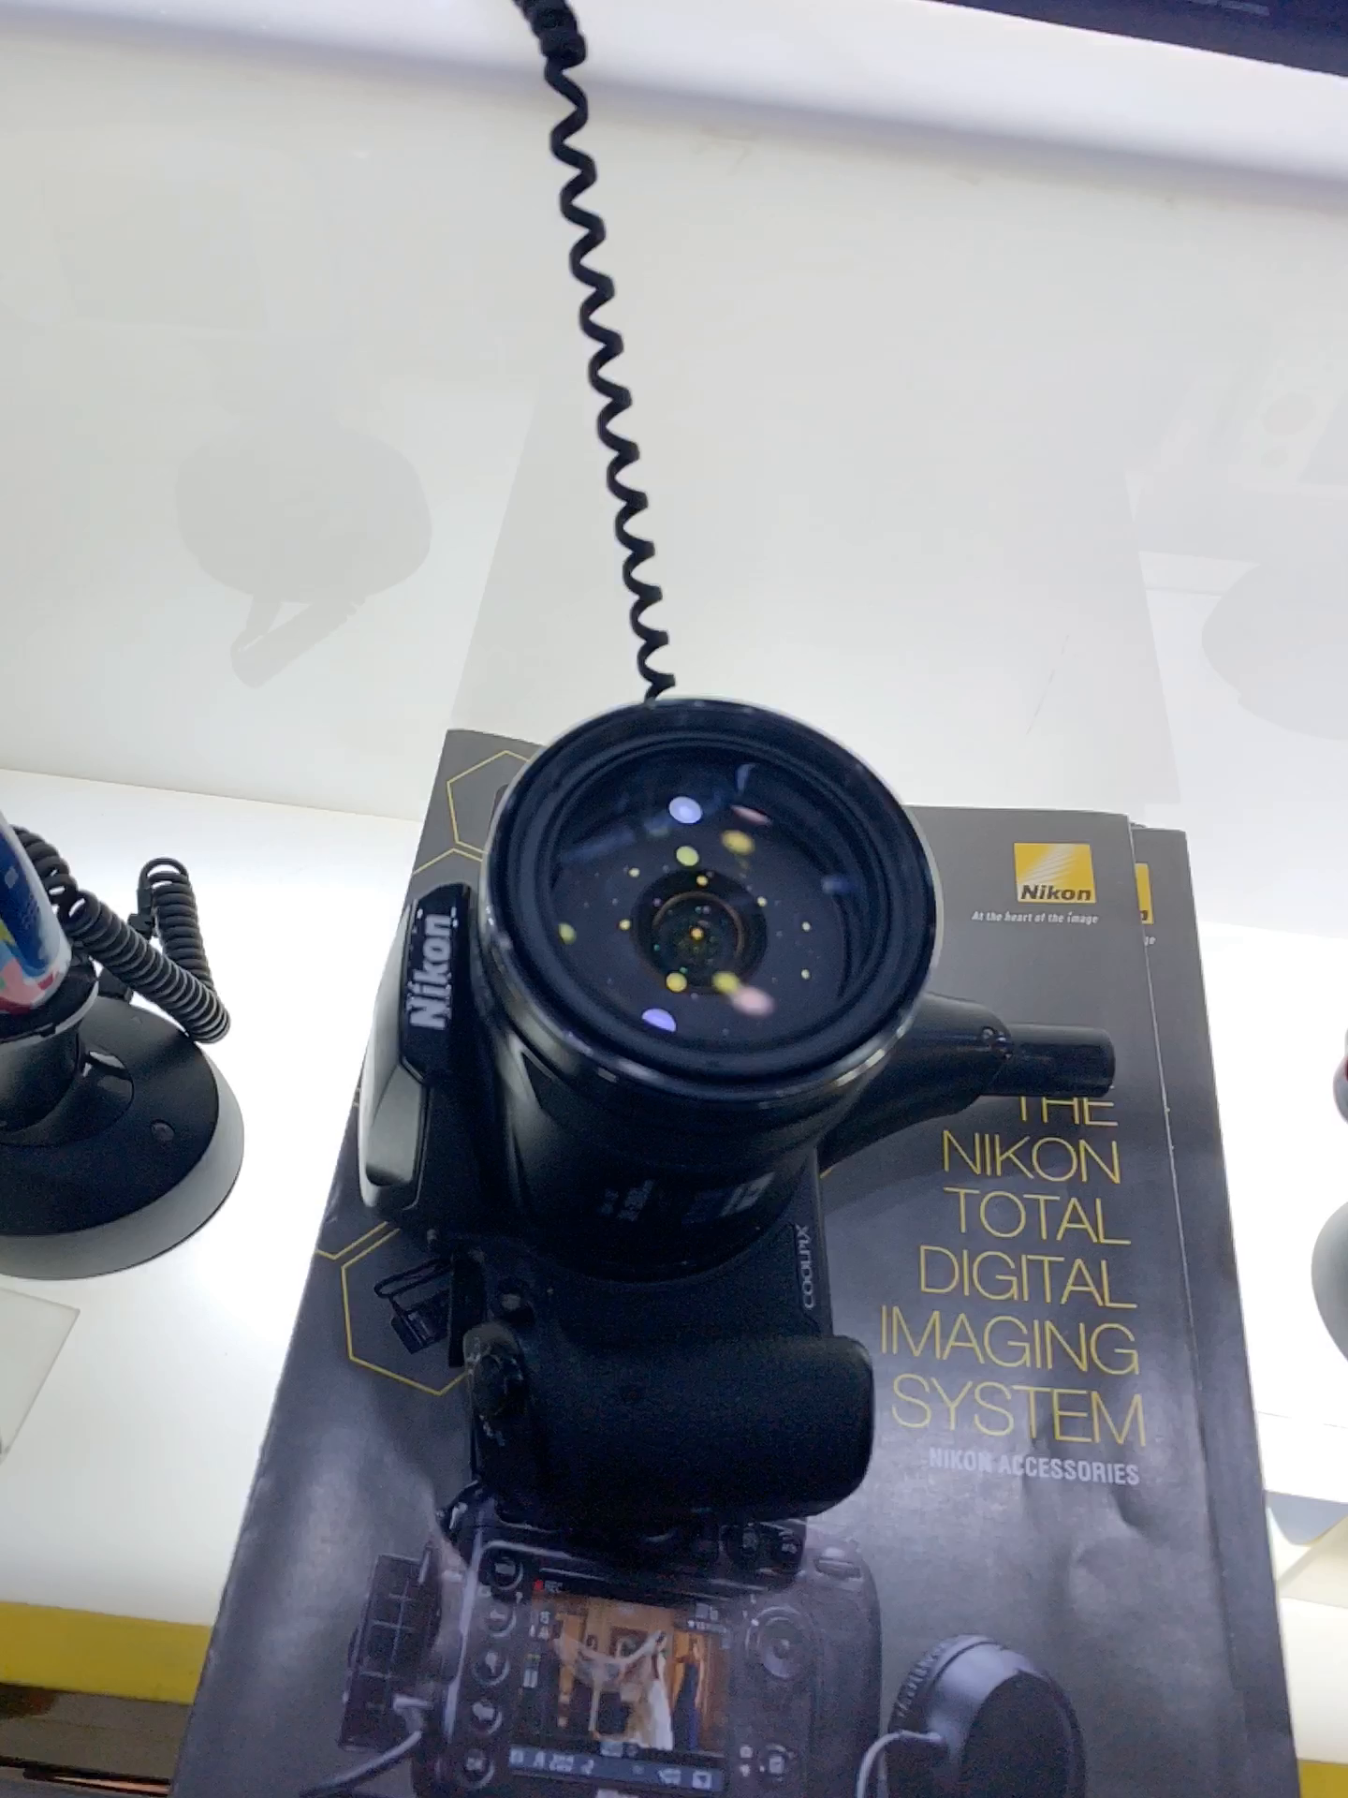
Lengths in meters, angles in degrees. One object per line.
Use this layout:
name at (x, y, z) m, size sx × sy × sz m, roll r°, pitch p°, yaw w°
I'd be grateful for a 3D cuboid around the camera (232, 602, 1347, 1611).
camera at (0.033, 0.044, 0.255) m, size 0.200 × 0.100 × 0.140 m, roll 5°, pitch 54°, yaw -12°
